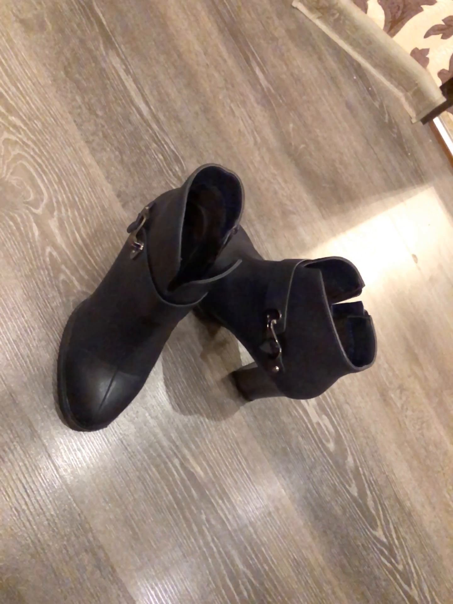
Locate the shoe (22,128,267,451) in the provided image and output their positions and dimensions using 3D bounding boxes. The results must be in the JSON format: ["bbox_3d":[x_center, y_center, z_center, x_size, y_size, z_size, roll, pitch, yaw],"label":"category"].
[{"bbox_3d":[-0.075,0.007,0.422,0.090,0.189,0.211,24,66,-20],"label":"shoe"}]

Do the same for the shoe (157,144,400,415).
[{"bbox_3d":[0.035,-0.009,0.495,0.090,0.189,0.210,-14,82,-30],"label":"shoe"}]
